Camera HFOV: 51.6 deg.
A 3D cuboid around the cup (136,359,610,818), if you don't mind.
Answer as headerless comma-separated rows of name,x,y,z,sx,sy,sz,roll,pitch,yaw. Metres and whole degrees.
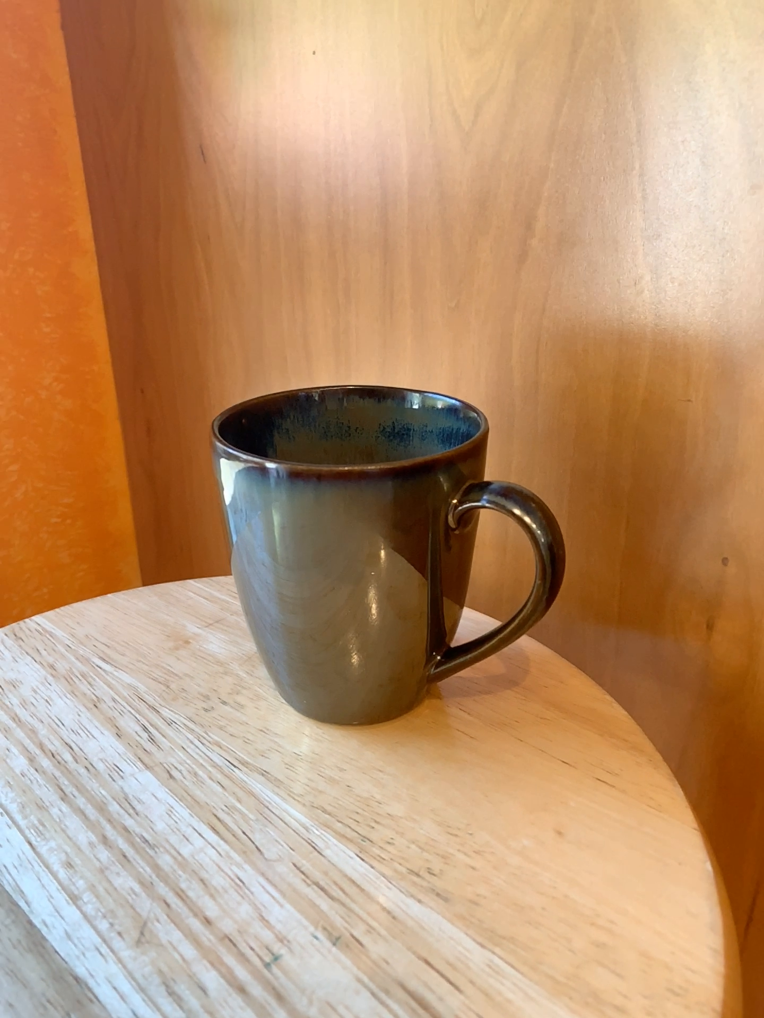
cup,-0.006,0.012,0.254,0.120,0.090,0.080,20,30,39
